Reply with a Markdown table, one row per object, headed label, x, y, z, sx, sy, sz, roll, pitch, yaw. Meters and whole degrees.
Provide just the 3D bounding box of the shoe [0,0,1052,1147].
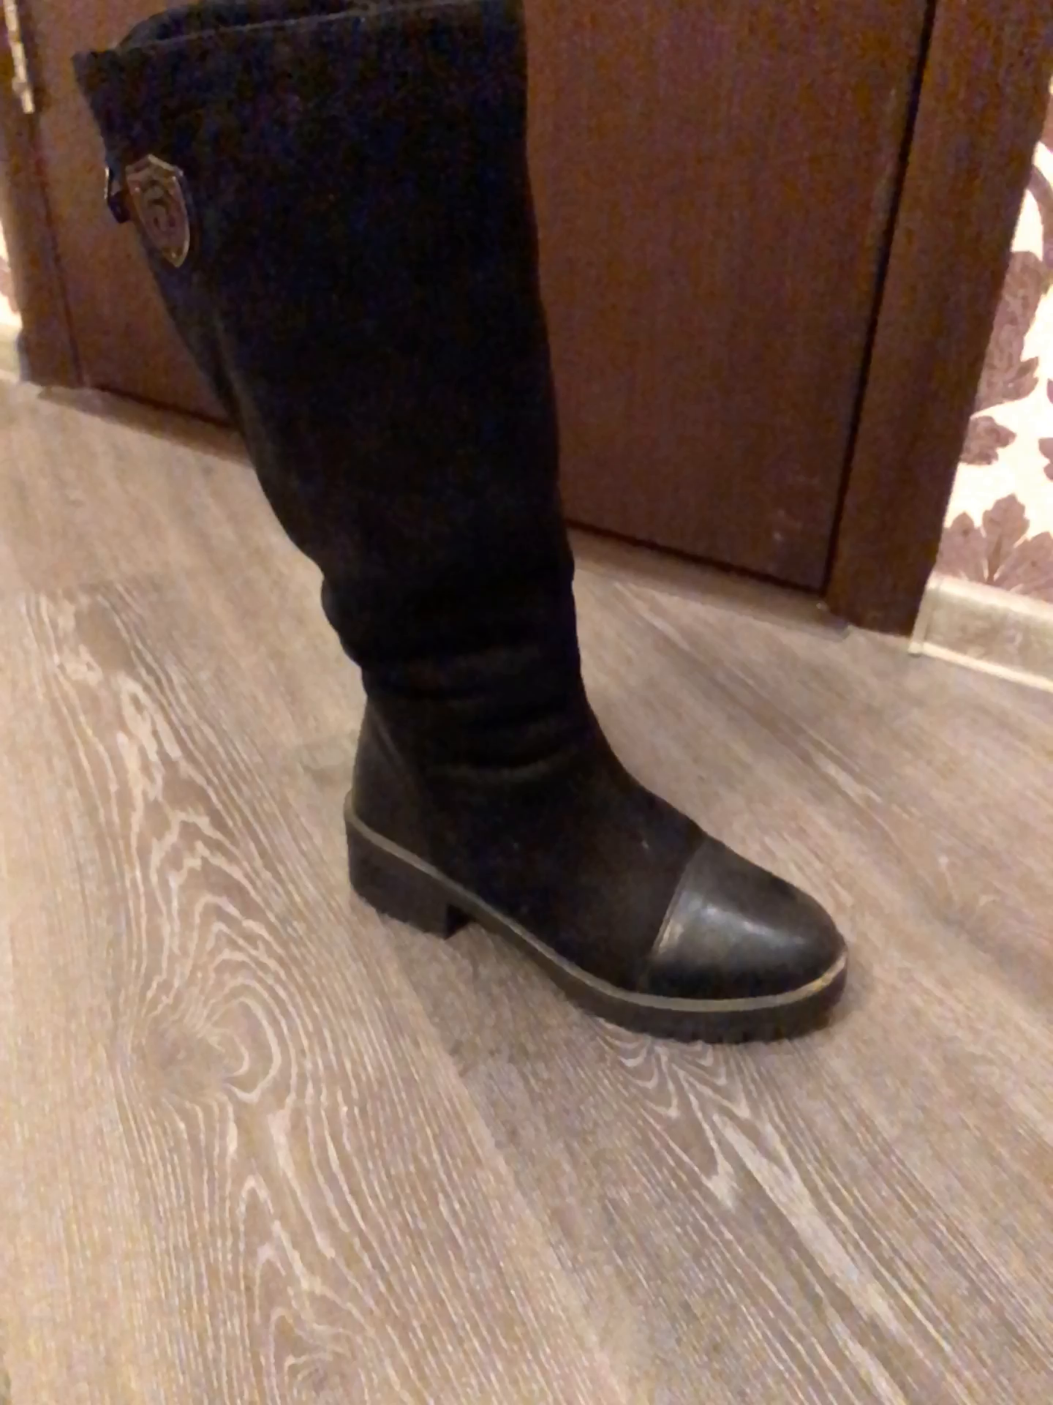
| label | x | y | z | sx | sy | sz | roll | pitch | yaw |
| --- | --- | --- | --- | --- | --- | --- | --- | --- | --- |
| shoe | -0.008 | -0.049 | 0.433 | 0.290 | 0.358 | 0.121 | 15 | 36 | 20 |
